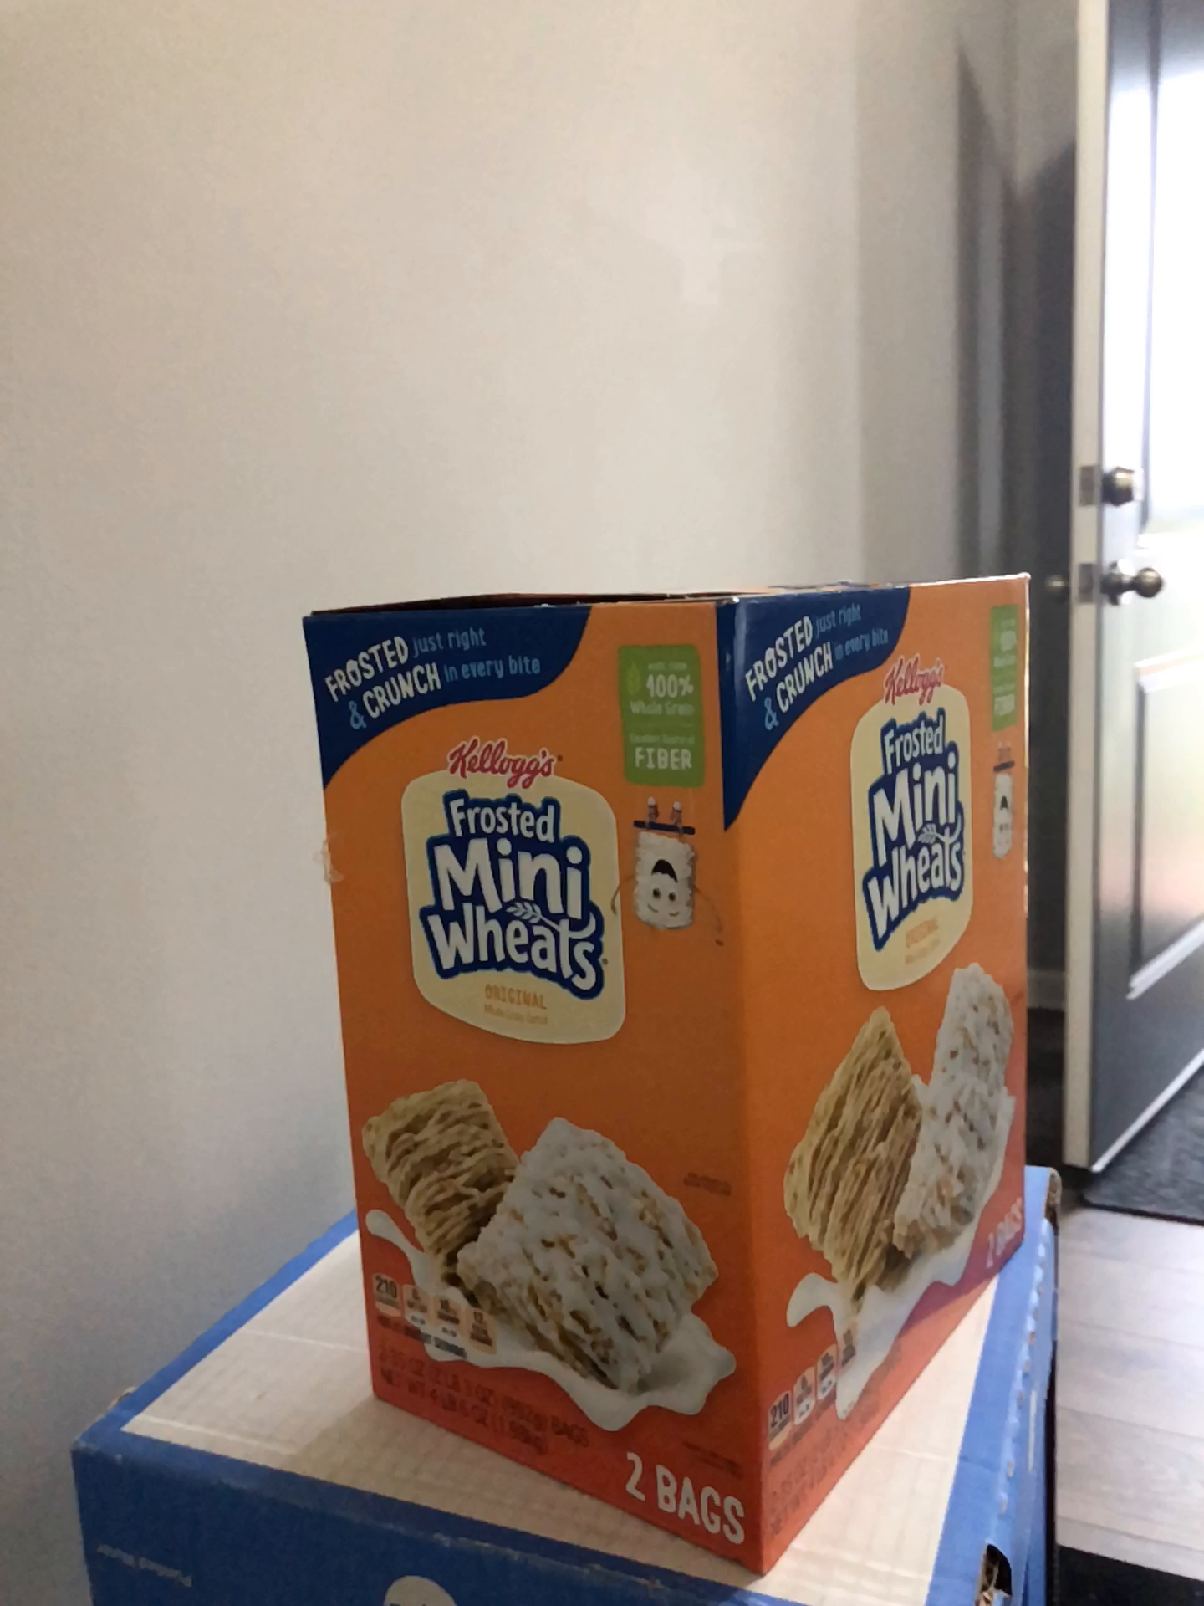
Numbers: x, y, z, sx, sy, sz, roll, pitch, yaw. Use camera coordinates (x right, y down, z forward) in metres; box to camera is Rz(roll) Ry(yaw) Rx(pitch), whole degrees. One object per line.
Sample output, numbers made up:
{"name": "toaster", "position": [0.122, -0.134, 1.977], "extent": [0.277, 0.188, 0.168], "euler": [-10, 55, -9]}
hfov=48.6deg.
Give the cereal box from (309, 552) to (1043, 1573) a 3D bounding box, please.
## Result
{"name": "cereal box", "position": [0.048, 0.056, 0.512], "extent": [0.160, 0.289, 0.250], "euler": [4, 11, 35]}
